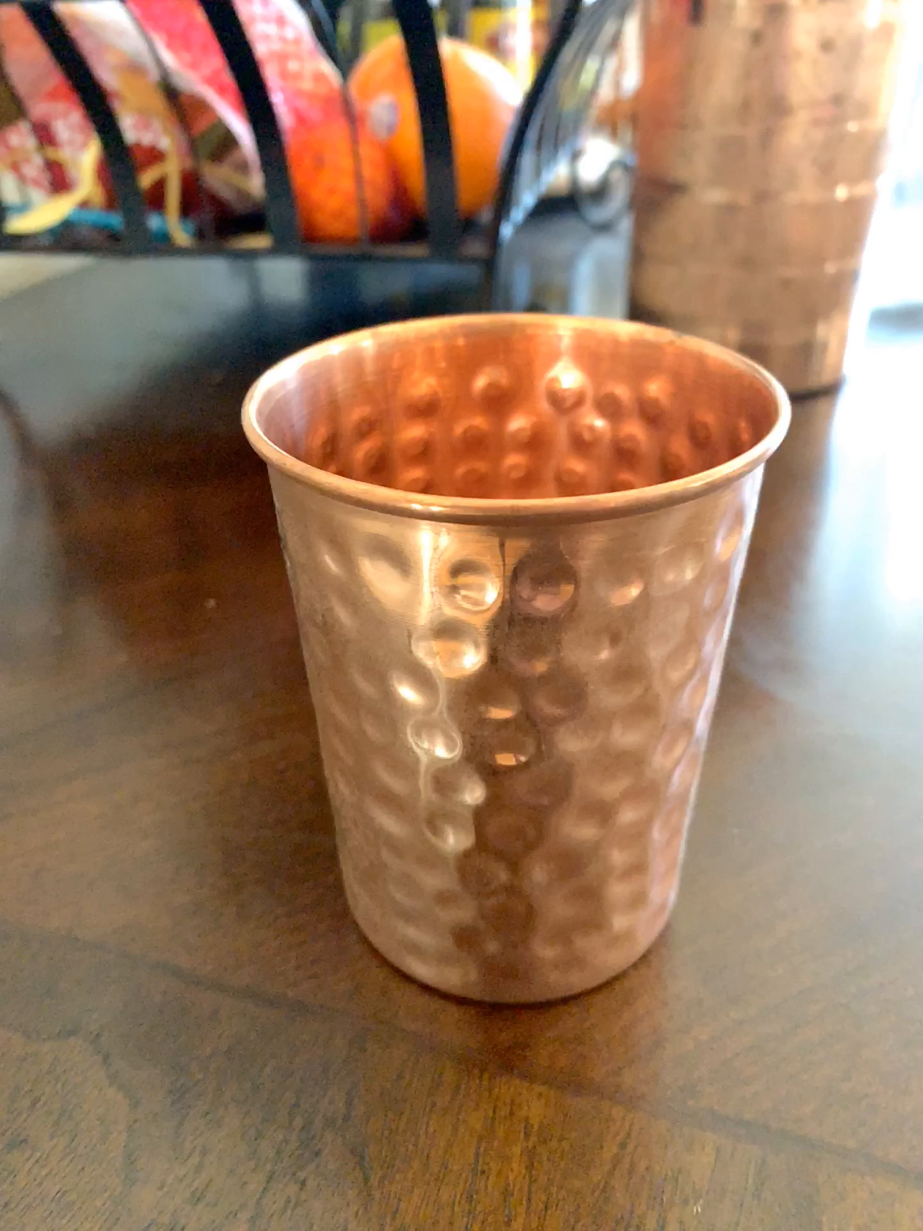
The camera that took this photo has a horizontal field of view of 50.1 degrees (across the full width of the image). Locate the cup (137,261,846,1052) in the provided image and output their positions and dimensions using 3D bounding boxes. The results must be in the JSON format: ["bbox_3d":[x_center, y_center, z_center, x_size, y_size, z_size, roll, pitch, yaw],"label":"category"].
[{"bbox_3d":[0.008,0.001,0.142,0.066,0.082,0.070,-1,32,0],"label":"cup"}]
